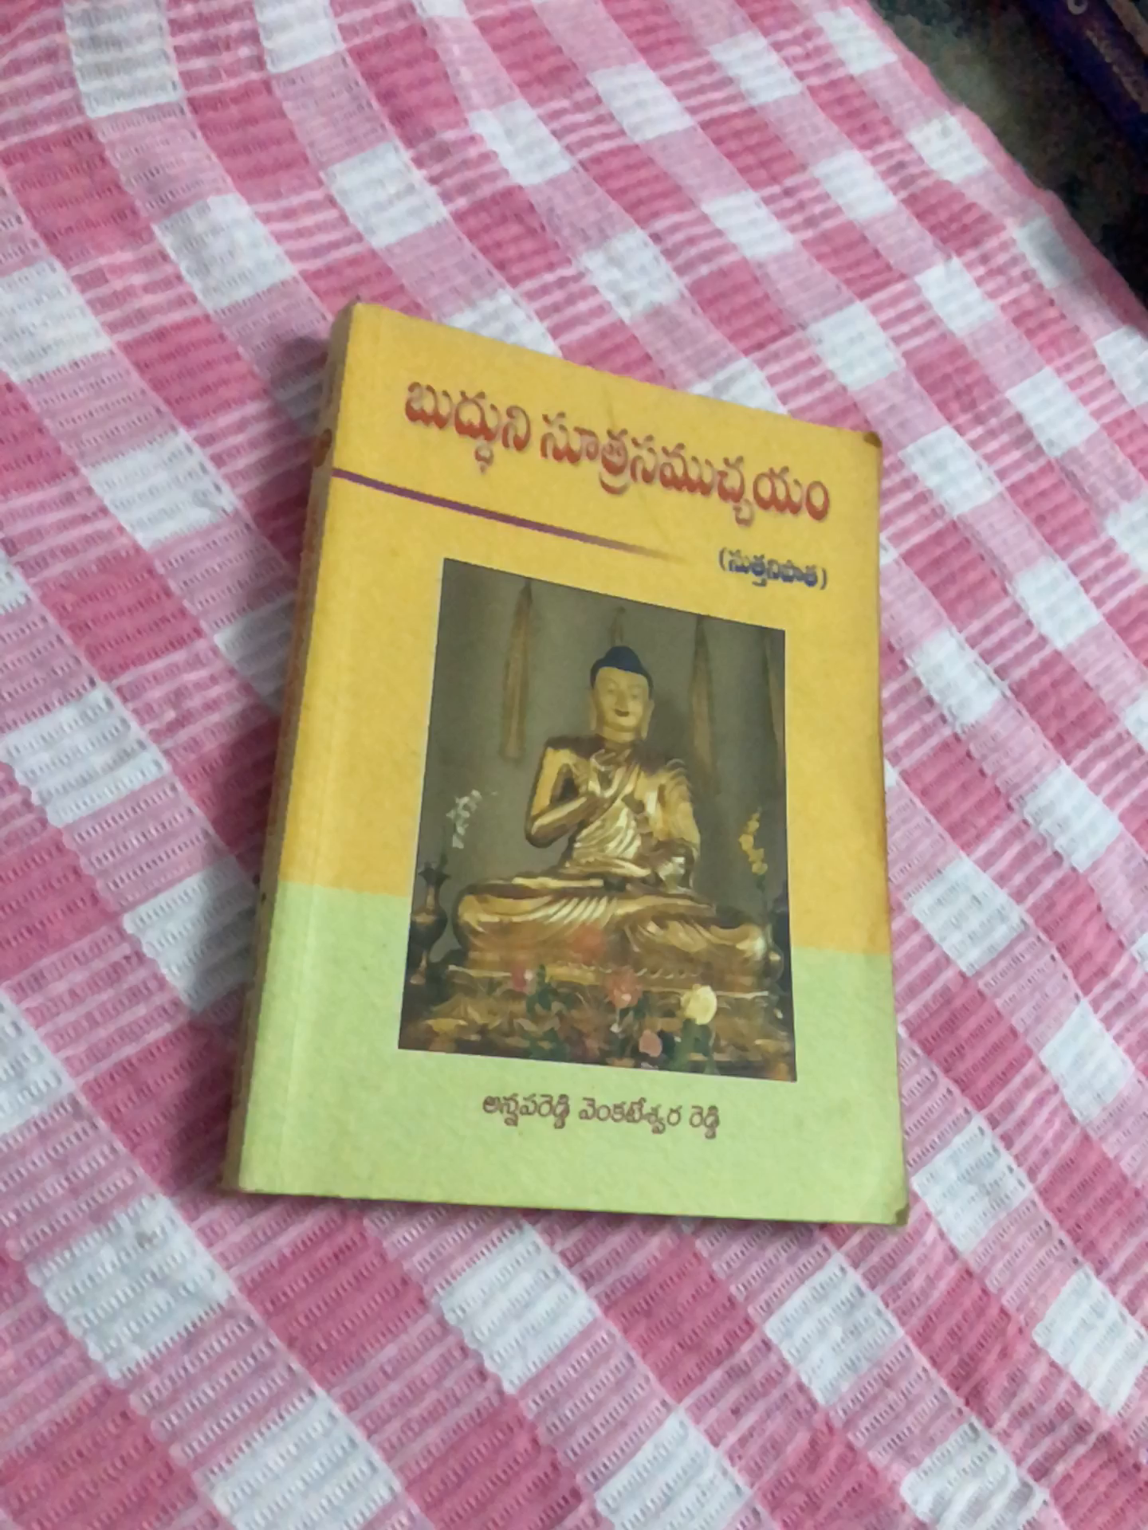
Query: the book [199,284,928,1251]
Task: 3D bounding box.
[{"bbox_3d":[0.004,0.001,0.302,0.150,0.030,0.210,10,67,-20],"label":"book"}]
